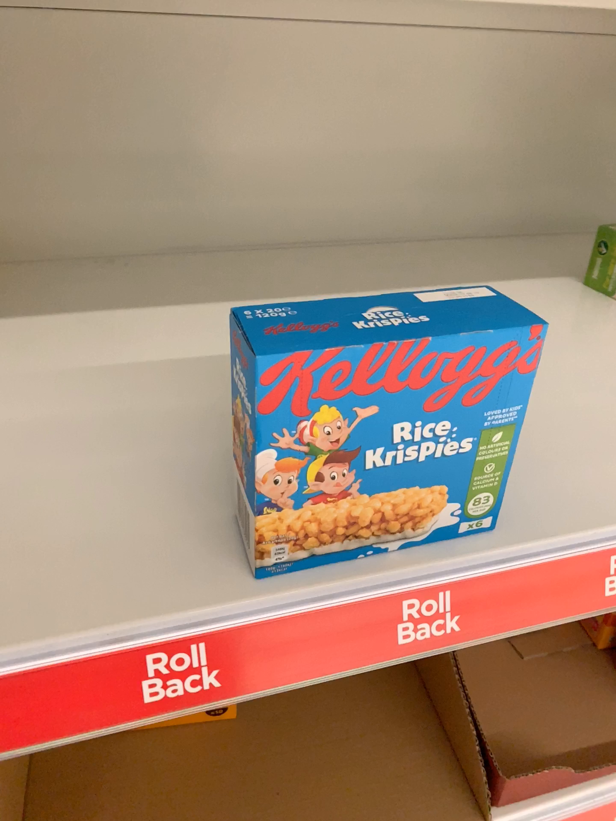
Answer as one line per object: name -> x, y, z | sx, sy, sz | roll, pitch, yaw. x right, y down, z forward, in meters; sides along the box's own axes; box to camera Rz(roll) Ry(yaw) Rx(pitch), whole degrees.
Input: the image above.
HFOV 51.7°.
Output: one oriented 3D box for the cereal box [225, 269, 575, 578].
cereal box -> 0.039, 0.005, 0.319 | 0.150, 0.129, 0.050 | -8, 33, -17
